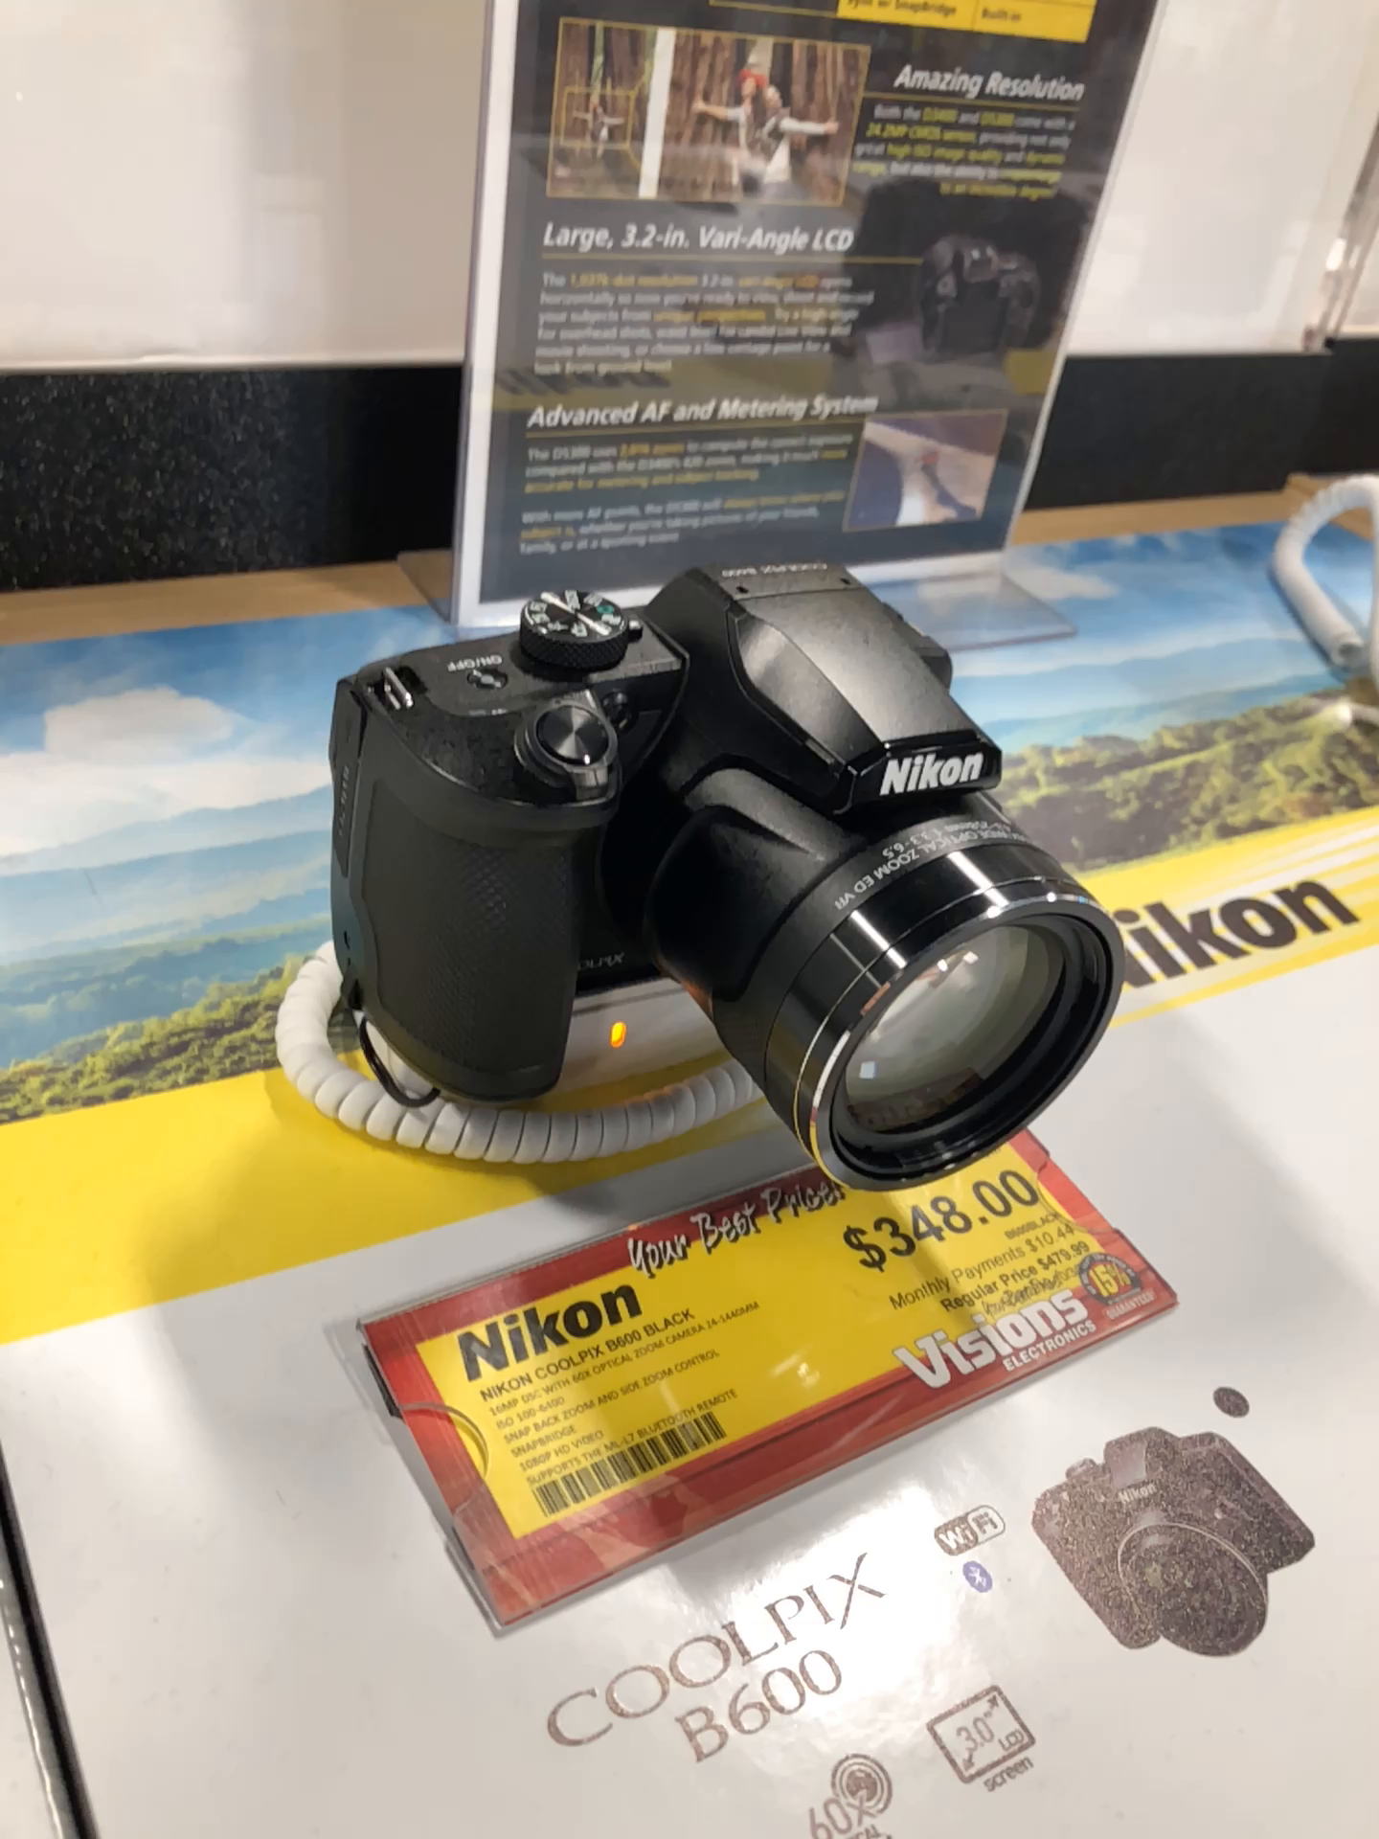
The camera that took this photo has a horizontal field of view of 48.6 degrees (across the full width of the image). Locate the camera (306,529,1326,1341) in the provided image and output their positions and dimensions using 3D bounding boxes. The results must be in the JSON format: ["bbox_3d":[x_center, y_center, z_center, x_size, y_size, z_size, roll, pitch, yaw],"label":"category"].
[{"bbox_3d":[0.013,-0.010,0.269,0.130,0.070,0.111,-12,40,-27],"label":"camera"}]
